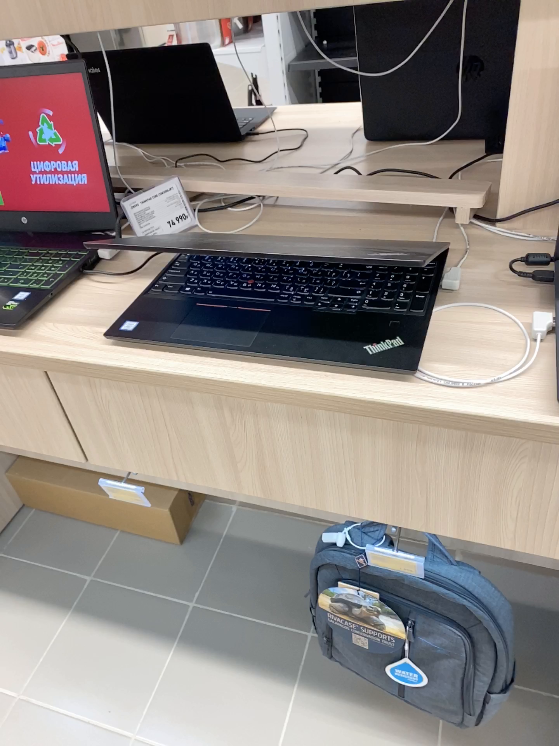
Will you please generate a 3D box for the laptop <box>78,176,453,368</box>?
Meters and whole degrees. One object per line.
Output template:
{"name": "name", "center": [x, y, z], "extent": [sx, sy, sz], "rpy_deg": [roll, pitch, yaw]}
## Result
{"name": "laptop", "center": [-0.005, -0.138, 0.670], "extent": [0.369, 0.093, 0.241], "rpy_deg": [7, 41, 21]}
